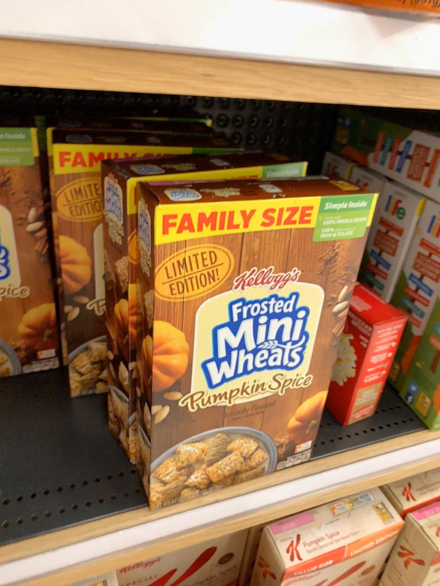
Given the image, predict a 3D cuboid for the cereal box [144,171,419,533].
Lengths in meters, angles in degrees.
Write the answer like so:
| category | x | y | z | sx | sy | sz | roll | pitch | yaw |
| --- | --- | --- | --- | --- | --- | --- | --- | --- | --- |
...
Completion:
| category | x | y | z | sx | sy | sz | roll | pitch | yaw |
| --- | --- | --- | --- | --- | --- | --- | --- | --- | --- |
| cereal box | 0.039 | 0.056 | 0.401 | 0.200 | 0.308 | 0.050 | -8 | 30 | -24 |
